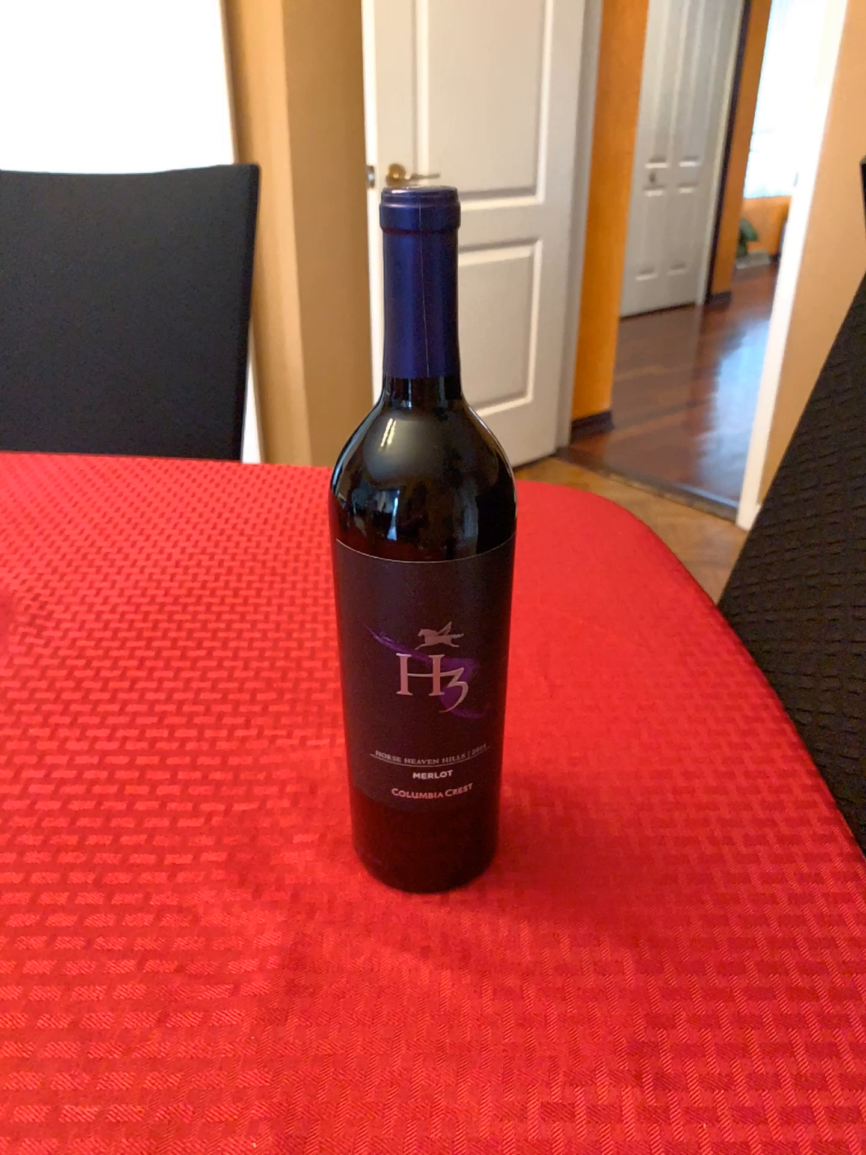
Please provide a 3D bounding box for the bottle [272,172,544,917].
[{"bbox_3d":[-0.013,-0.003,0.361,0.080,0.288,0.080,0,27,0],"label":"bottle"}]
